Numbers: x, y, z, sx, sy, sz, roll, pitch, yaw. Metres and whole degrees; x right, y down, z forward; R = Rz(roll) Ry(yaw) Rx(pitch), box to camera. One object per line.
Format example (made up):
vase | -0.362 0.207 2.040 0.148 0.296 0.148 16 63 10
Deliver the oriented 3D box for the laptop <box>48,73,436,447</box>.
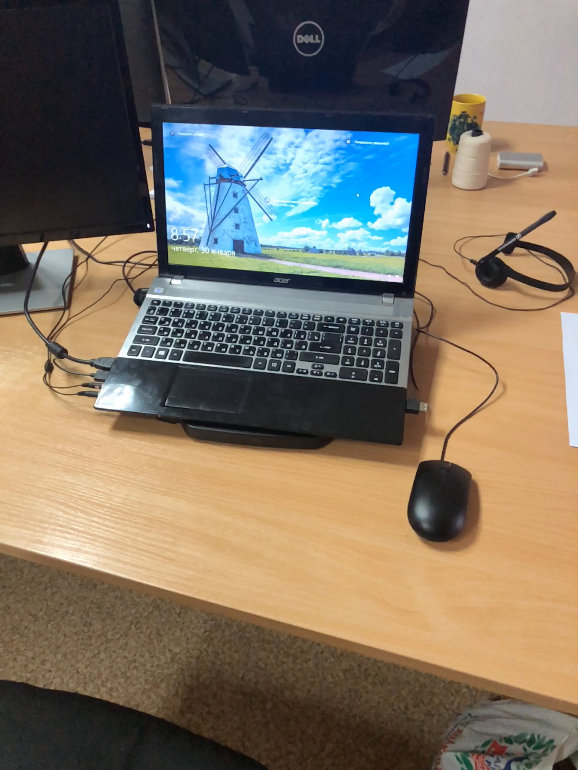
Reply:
laptop | -0.026 -0.175 0.784 0.373 0.211 0.361 6 50 8
